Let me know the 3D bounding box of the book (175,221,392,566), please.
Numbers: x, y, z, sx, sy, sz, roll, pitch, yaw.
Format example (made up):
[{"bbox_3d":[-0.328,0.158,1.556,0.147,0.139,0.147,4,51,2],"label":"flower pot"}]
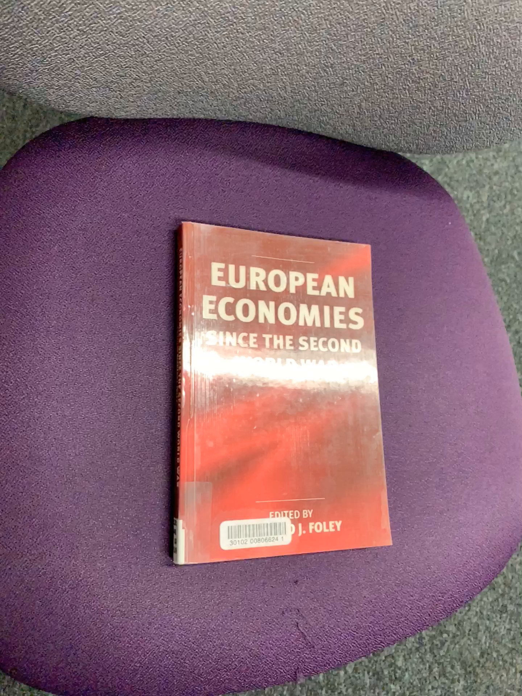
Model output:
[{"bbox_3d":[0.015,0.027,0.382,0.149,0.020,0.225,3,78,-19],"label":"book"}]
